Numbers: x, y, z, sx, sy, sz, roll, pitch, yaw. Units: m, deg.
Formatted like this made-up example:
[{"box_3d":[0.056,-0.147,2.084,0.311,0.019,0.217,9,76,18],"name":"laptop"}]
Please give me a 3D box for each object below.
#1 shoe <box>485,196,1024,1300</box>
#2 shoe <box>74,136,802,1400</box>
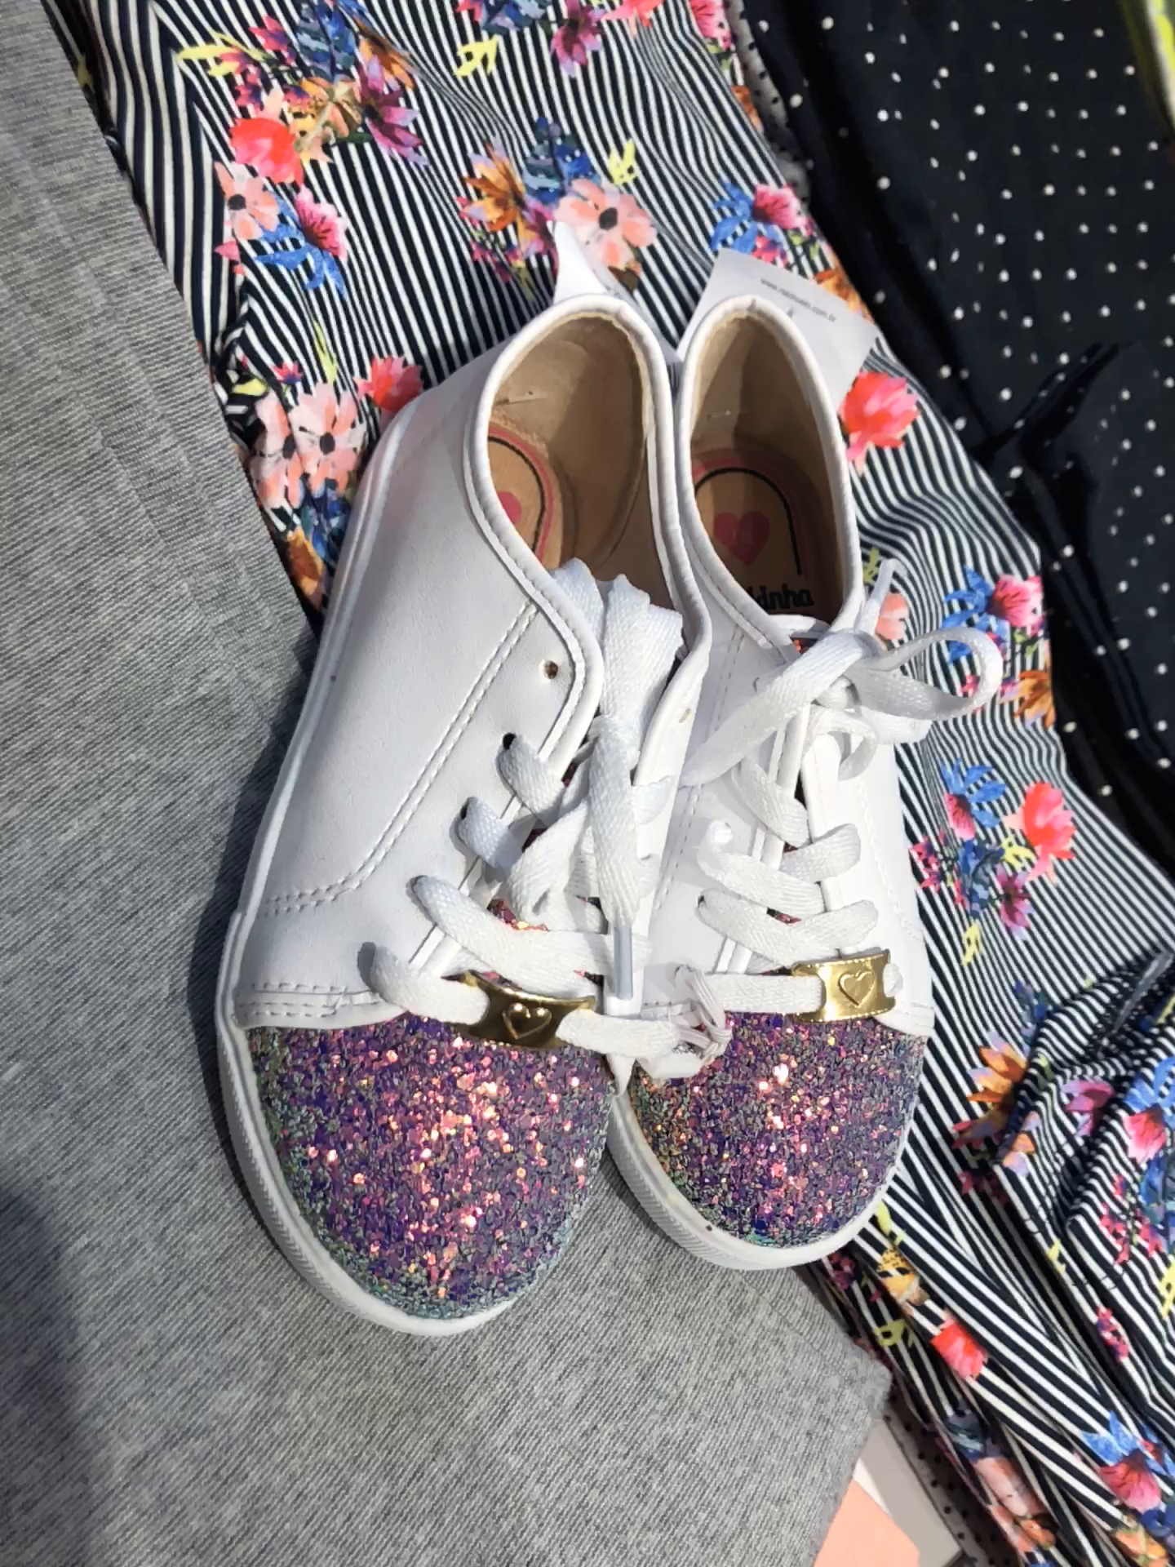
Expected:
[{"box_3d":[0.031,-0.005,0.276,0.080,0.070,0.200,6,76,-21],"name":"shoe"},{"box_3d":[-0.023,0.000,0.238,0.080,0.070,0.190,16,72,-26],"name":"shoe"}]
